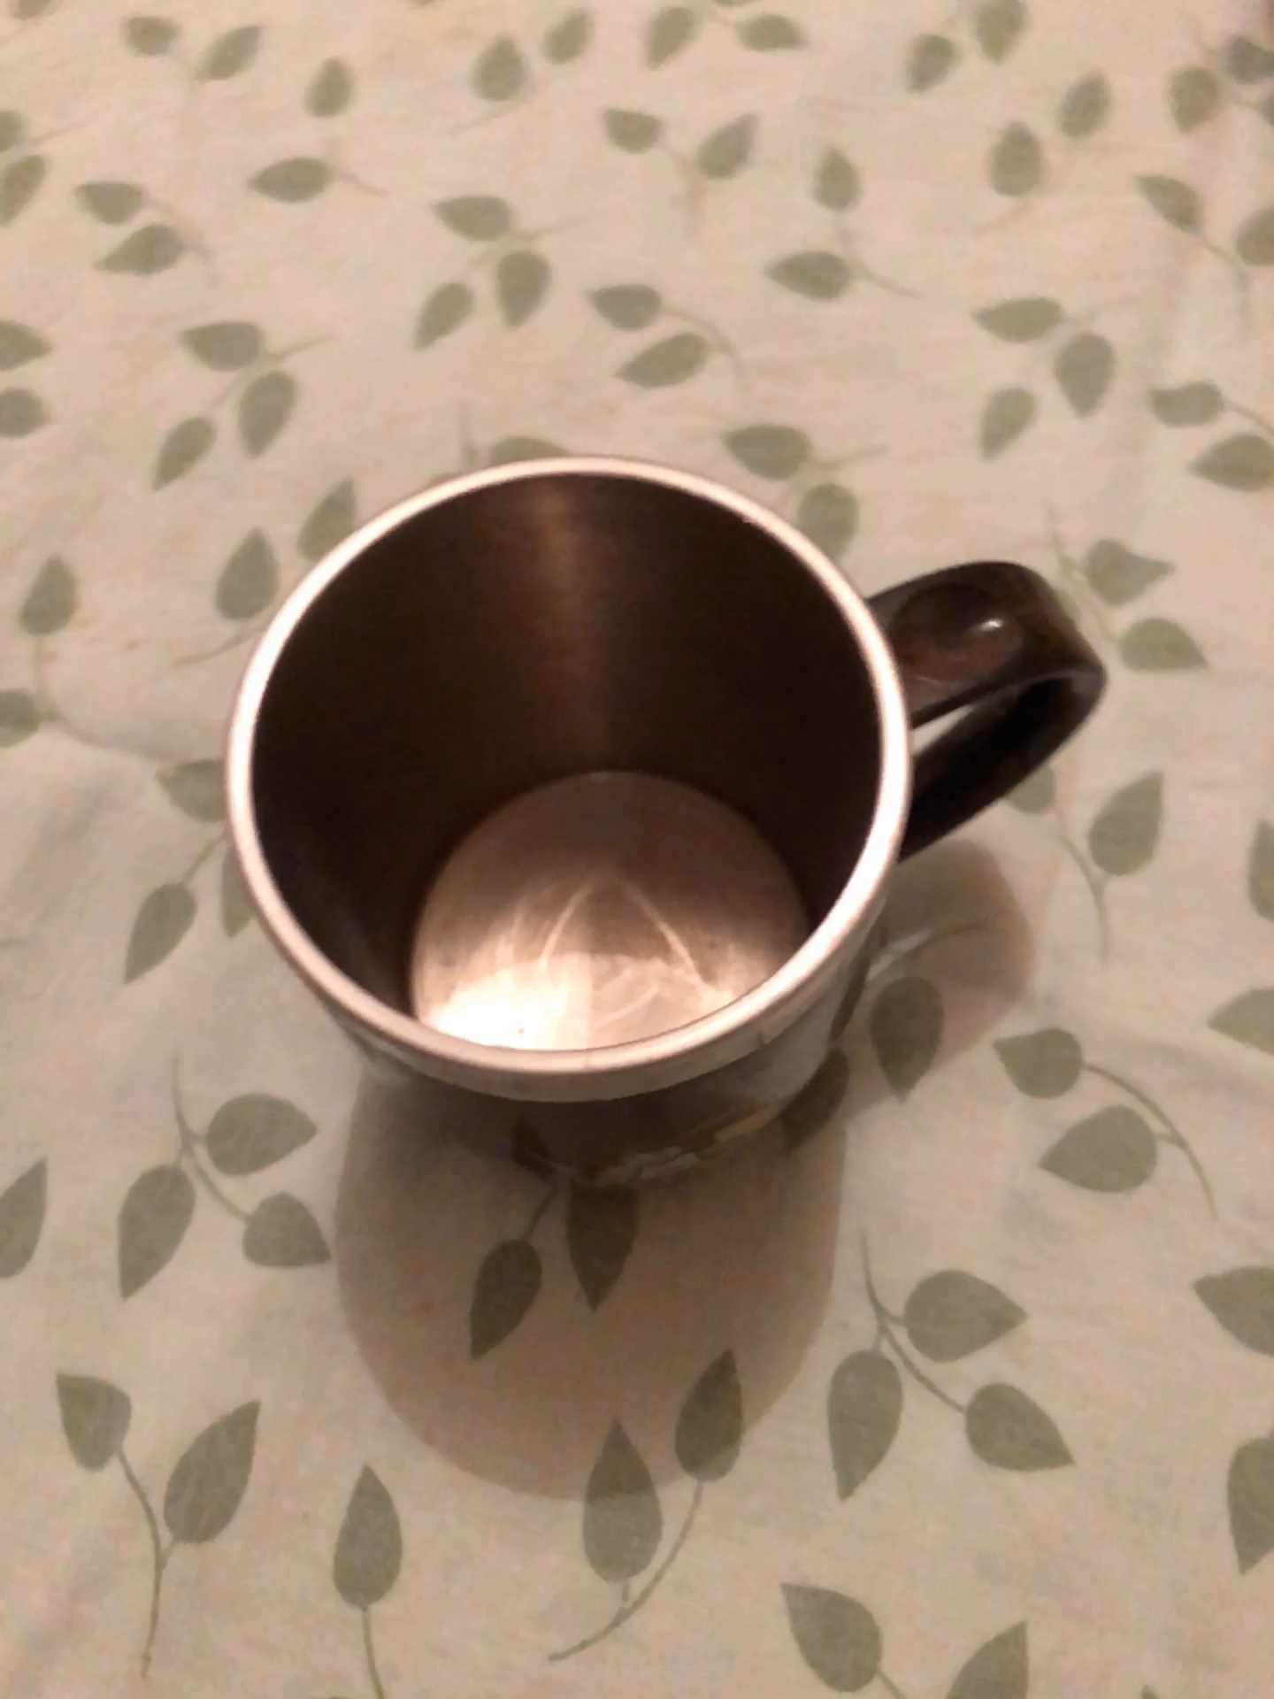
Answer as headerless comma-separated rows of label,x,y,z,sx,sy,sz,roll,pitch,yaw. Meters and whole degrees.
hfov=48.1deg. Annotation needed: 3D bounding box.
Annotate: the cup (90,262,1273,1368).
cup,0.012,0.006,0.231,0.130,0.120,0.090,-29,71,-9
